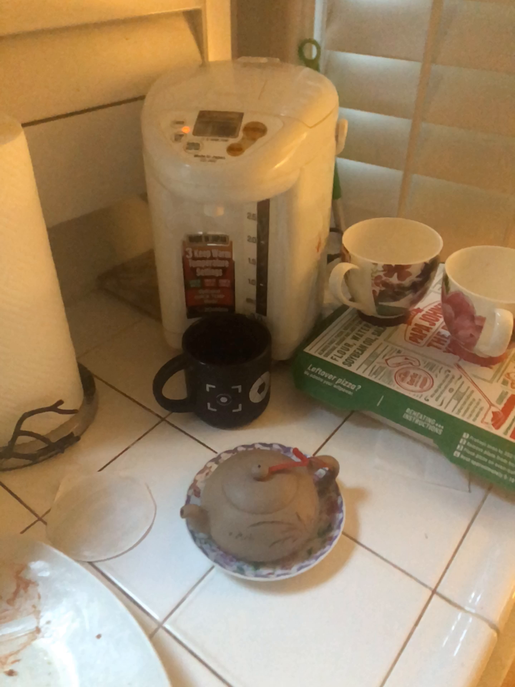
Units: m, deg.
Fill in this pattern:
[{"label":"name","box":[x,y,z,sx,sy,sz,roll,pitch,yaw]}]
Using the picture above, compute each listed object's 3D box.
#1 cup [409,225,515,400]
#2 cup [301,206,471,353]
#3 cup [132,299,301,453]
[{"label":"cup","box":[0.233,-0.039,0.567,0.100,0.079,0.161,21,42,24]},{"label":"cup","box":[0.142,-0.078,0.638,0.161,0.079,0.100,-29,47,-33]},{"label":"cup","box":[-0.041,0.028,0.582,0.141,0.079,0.090,-19,42,-23]}]
